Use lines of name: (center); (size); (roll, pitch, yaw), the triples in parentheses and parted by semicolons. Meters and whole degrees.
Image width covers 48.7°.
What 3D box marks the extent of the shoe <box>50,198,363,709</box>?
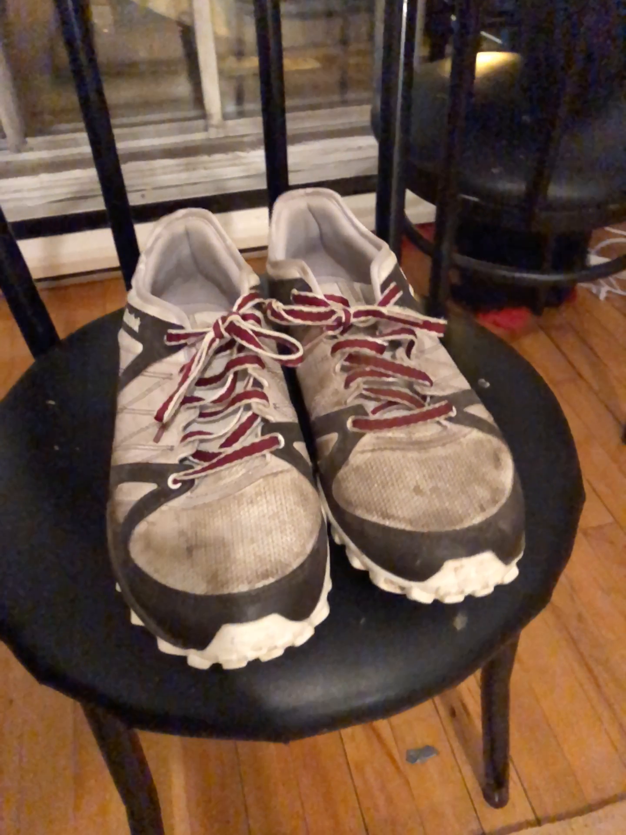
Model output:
shoe: (-0.069, -0.009, 0.369); (0.110, 0.089, 0.272); (-11, 44, -10)

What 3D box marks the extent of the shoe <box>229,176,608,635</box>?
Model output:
shoe: (0.033, -0.033, 0.404); (0.110, 0.089, 0.282); (-11, 44, -10)
